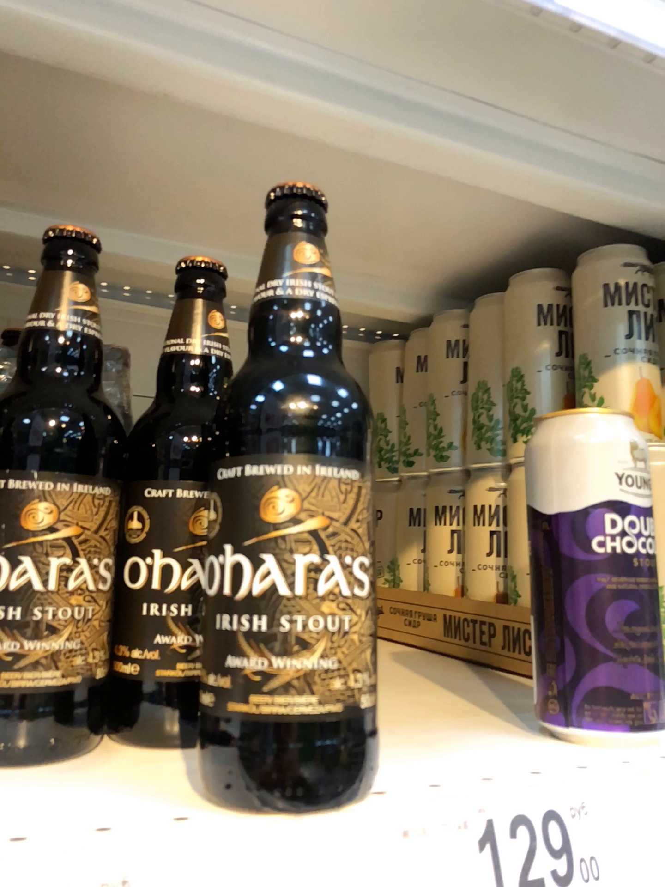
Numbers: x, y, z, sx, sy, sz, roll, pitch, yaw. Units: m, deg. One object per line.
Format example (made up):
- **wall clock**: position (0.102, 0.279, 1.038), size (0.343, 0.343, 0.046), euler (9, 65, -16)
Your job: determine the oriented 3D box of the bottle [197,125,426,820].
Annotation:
- **bottle**: position (-0.005, 0.006, 0.288), size (0.070, 0.241, 0.070), euler (2, -9, 0)
